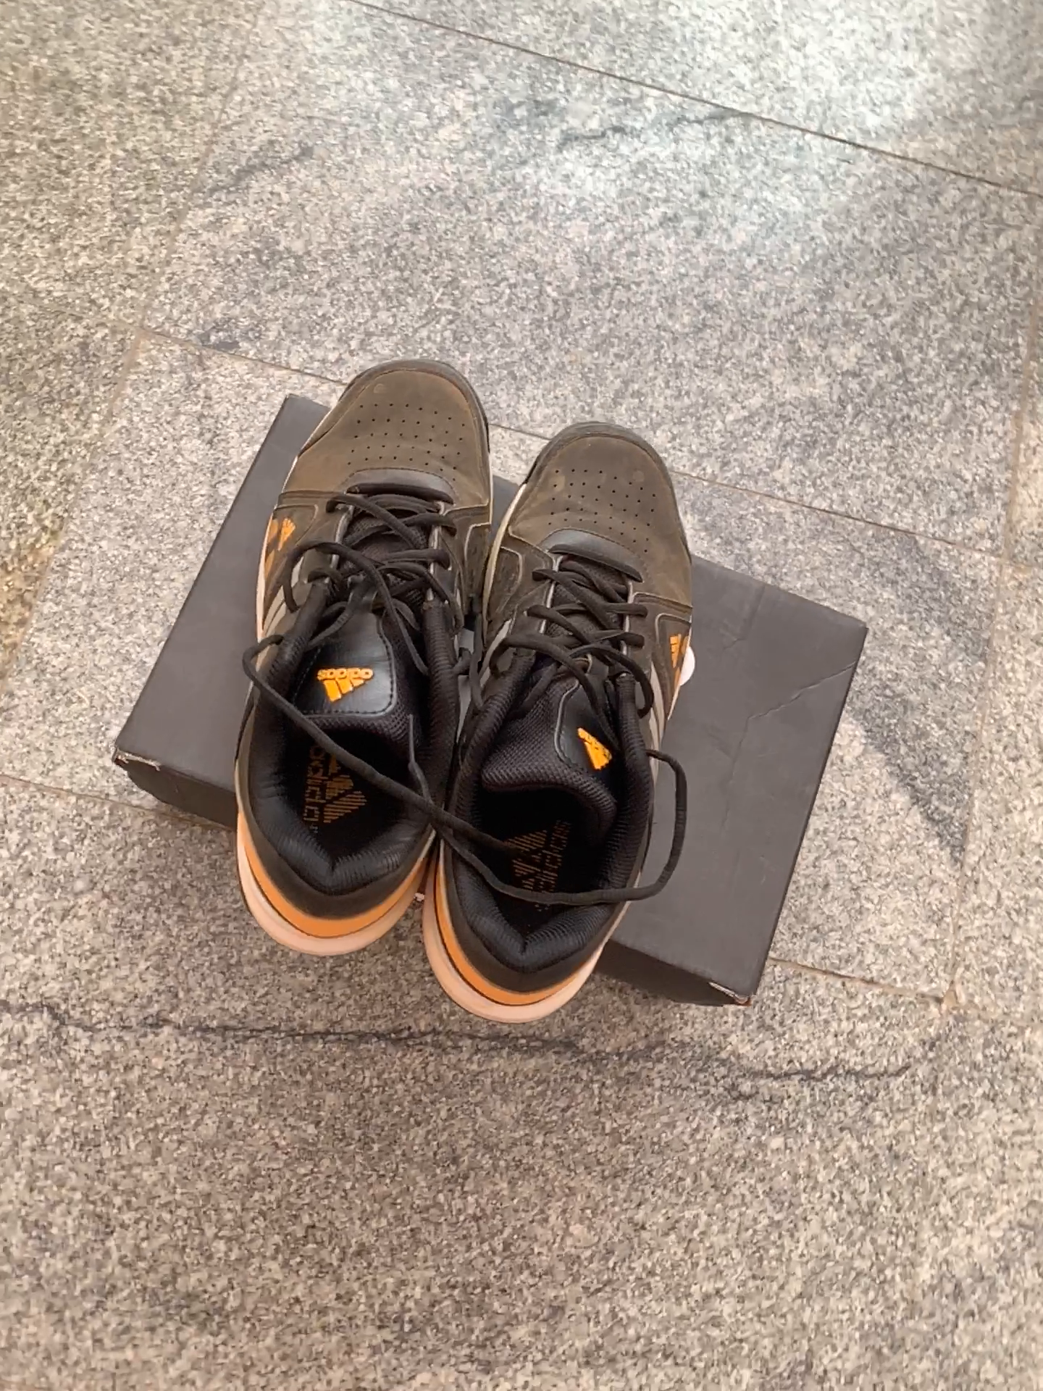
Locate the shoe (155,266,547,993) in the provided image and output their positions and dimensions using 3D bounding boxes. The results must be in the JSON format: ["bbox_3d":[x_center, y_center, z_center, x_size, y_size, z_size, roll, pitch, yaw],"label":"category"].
[{"bbox_3d":[-0.073,-0.028,0.491,0.110,0.090,0.301,11,75,-11],"label":"shoe"}]

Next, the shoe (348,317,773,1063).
[{"bbox_3d":[0.019,-0.004,0.472,0.110,0.090,0.291,14,75,-2],"label":"shoe"}]
